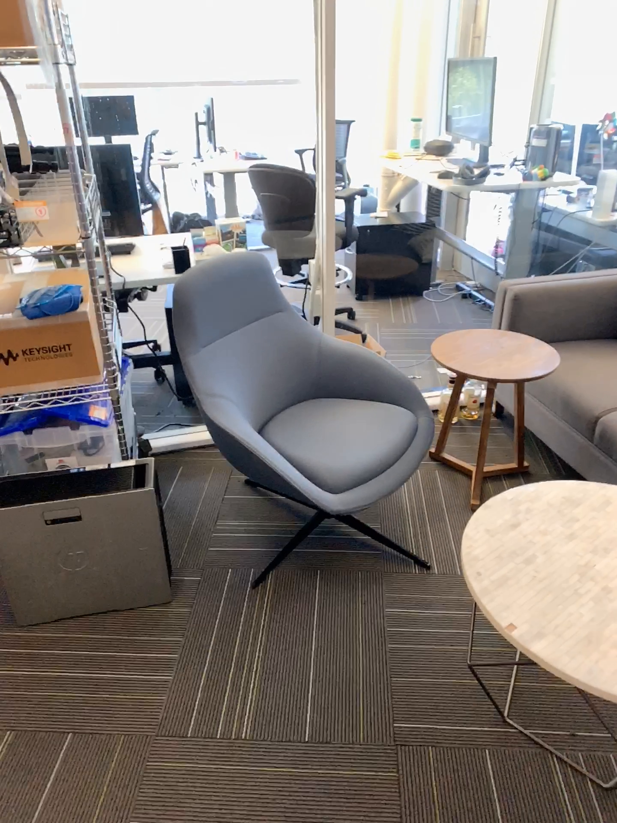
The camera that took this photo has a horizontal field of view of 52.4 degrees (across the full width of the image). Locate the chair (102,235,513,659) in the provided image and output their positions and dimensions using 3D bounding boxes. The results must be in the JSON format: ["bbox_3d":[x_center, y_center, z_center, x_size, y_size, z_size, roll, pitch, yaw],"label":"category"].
[{"bbox_3d":[0.009,0.014,2.225,1.003,0.964,0.842,20,35,33],"label":"chair"}]
